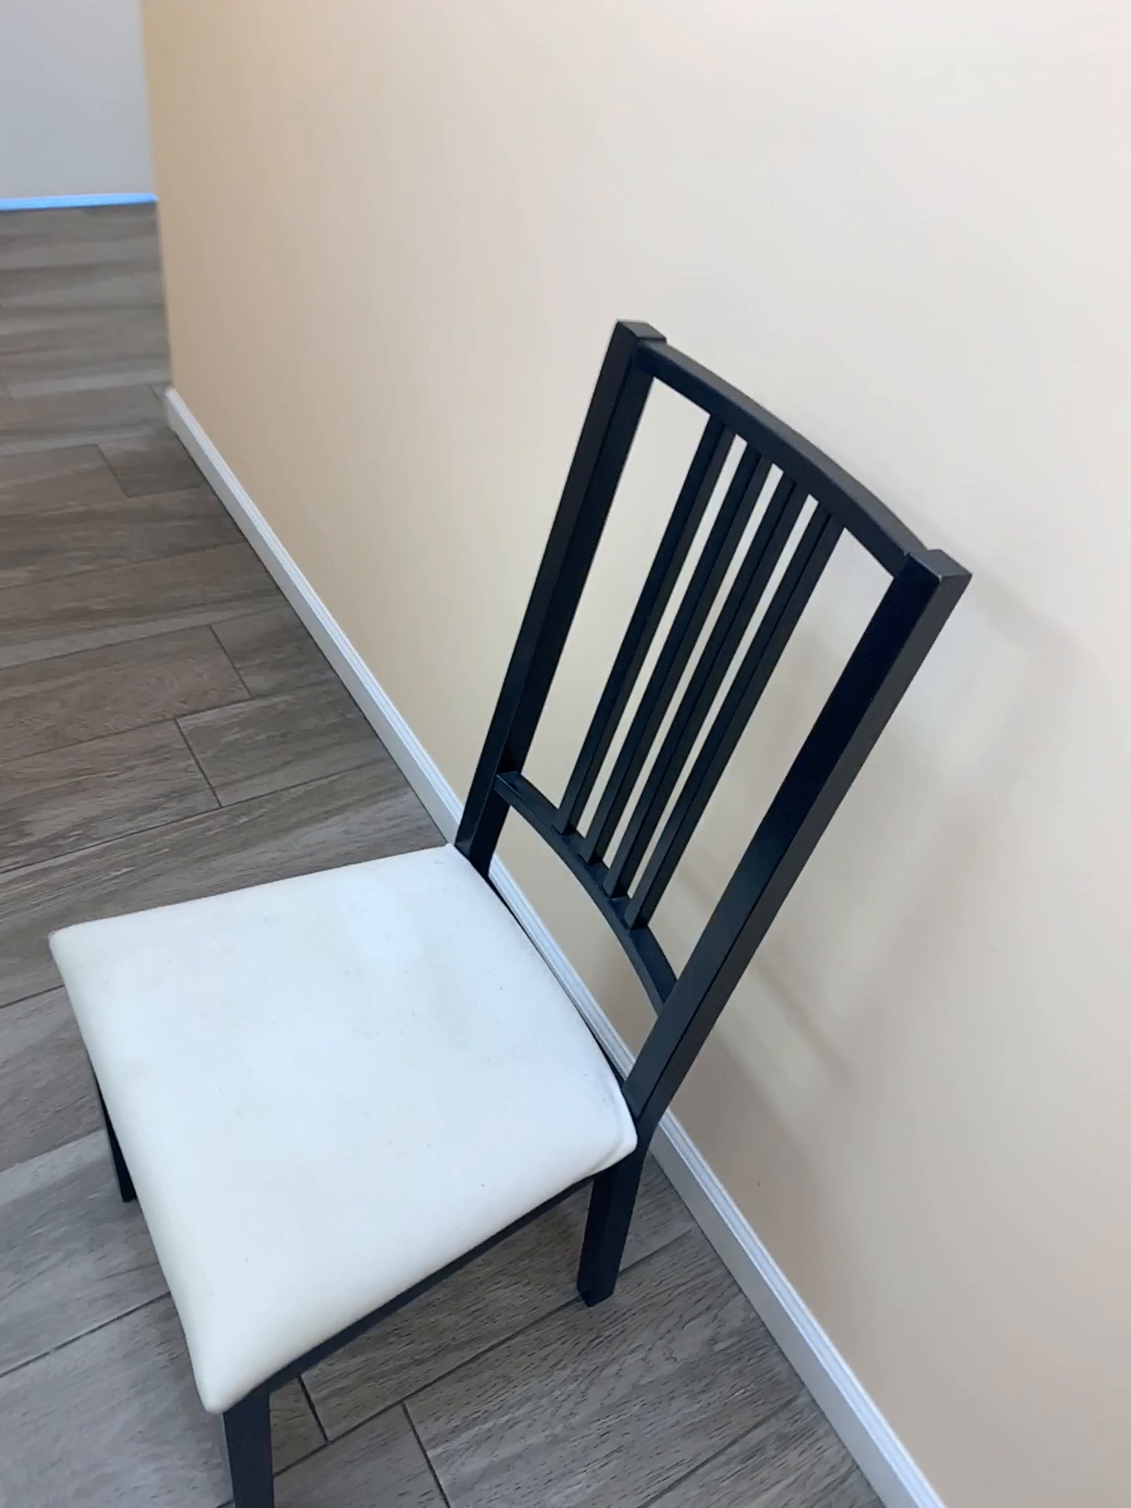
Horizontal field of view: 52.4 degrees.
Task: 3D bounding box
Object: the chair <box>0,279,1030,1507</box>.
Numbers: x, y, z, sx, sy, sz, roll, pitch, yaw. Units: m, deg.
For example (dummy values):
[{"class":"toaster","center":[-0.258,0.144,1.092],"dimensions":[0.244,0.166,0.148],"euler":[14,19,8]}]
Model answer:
[{"class":"chair","center":[-0.133,0.186,0.978],"dimensions":[0.498,0.963,0.440],"euler":[-18,50,-28]}]
